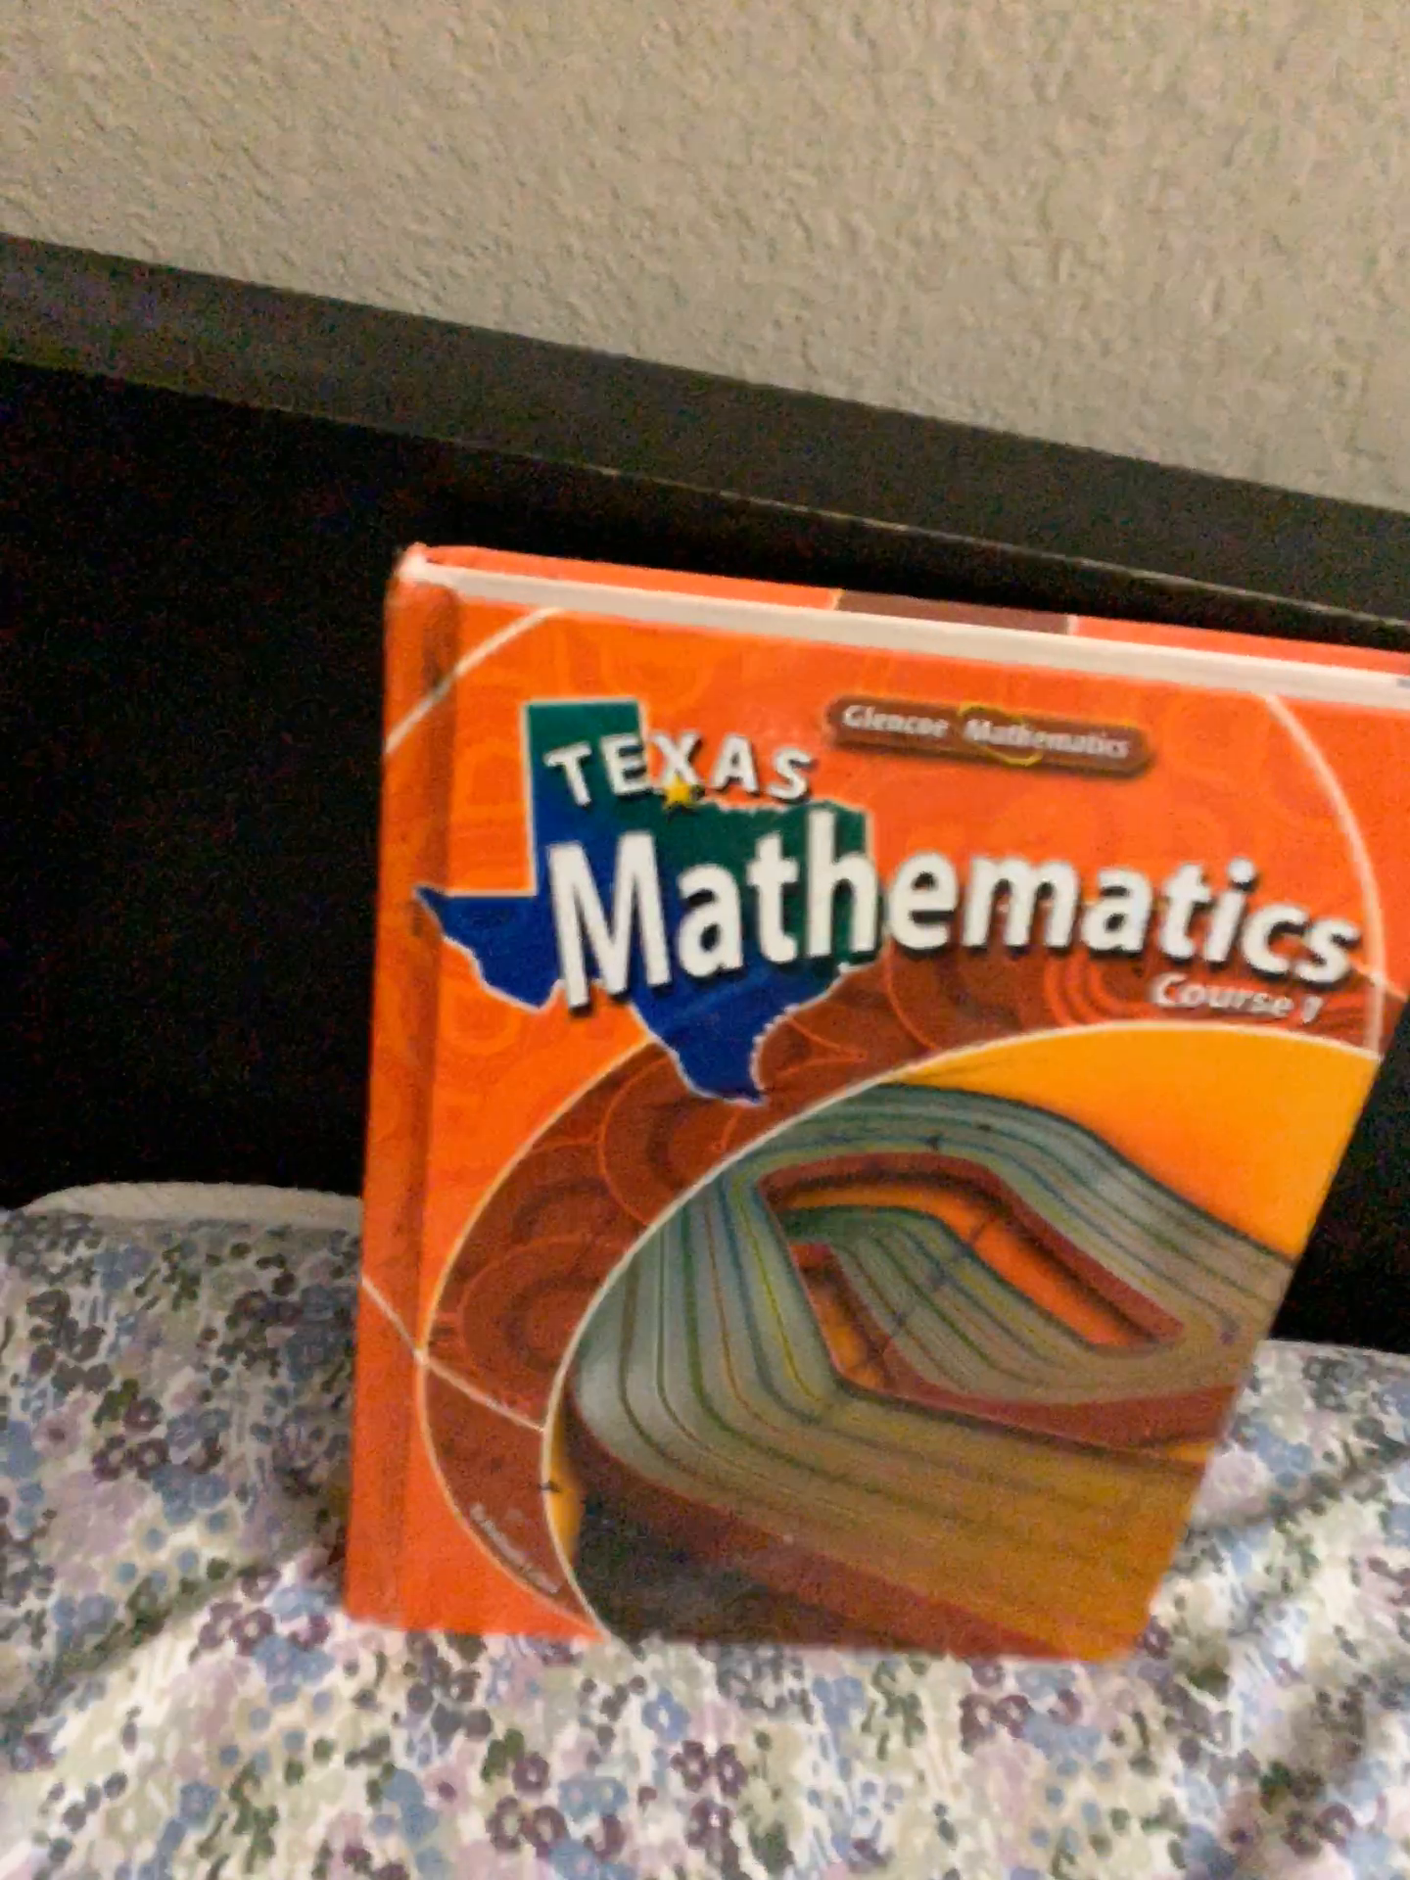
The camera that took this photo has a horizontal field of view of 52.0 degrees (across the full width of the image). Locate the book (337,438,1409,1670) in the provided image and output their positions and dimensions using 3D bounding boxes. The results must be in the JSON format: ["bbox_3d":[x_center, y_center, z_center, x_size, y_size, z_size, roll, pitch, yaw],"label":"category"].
[{"bbox_3d":[0.040,0.058,0.338,0.230,0.299,0.050,5,31,-9],"label":"book"}]
